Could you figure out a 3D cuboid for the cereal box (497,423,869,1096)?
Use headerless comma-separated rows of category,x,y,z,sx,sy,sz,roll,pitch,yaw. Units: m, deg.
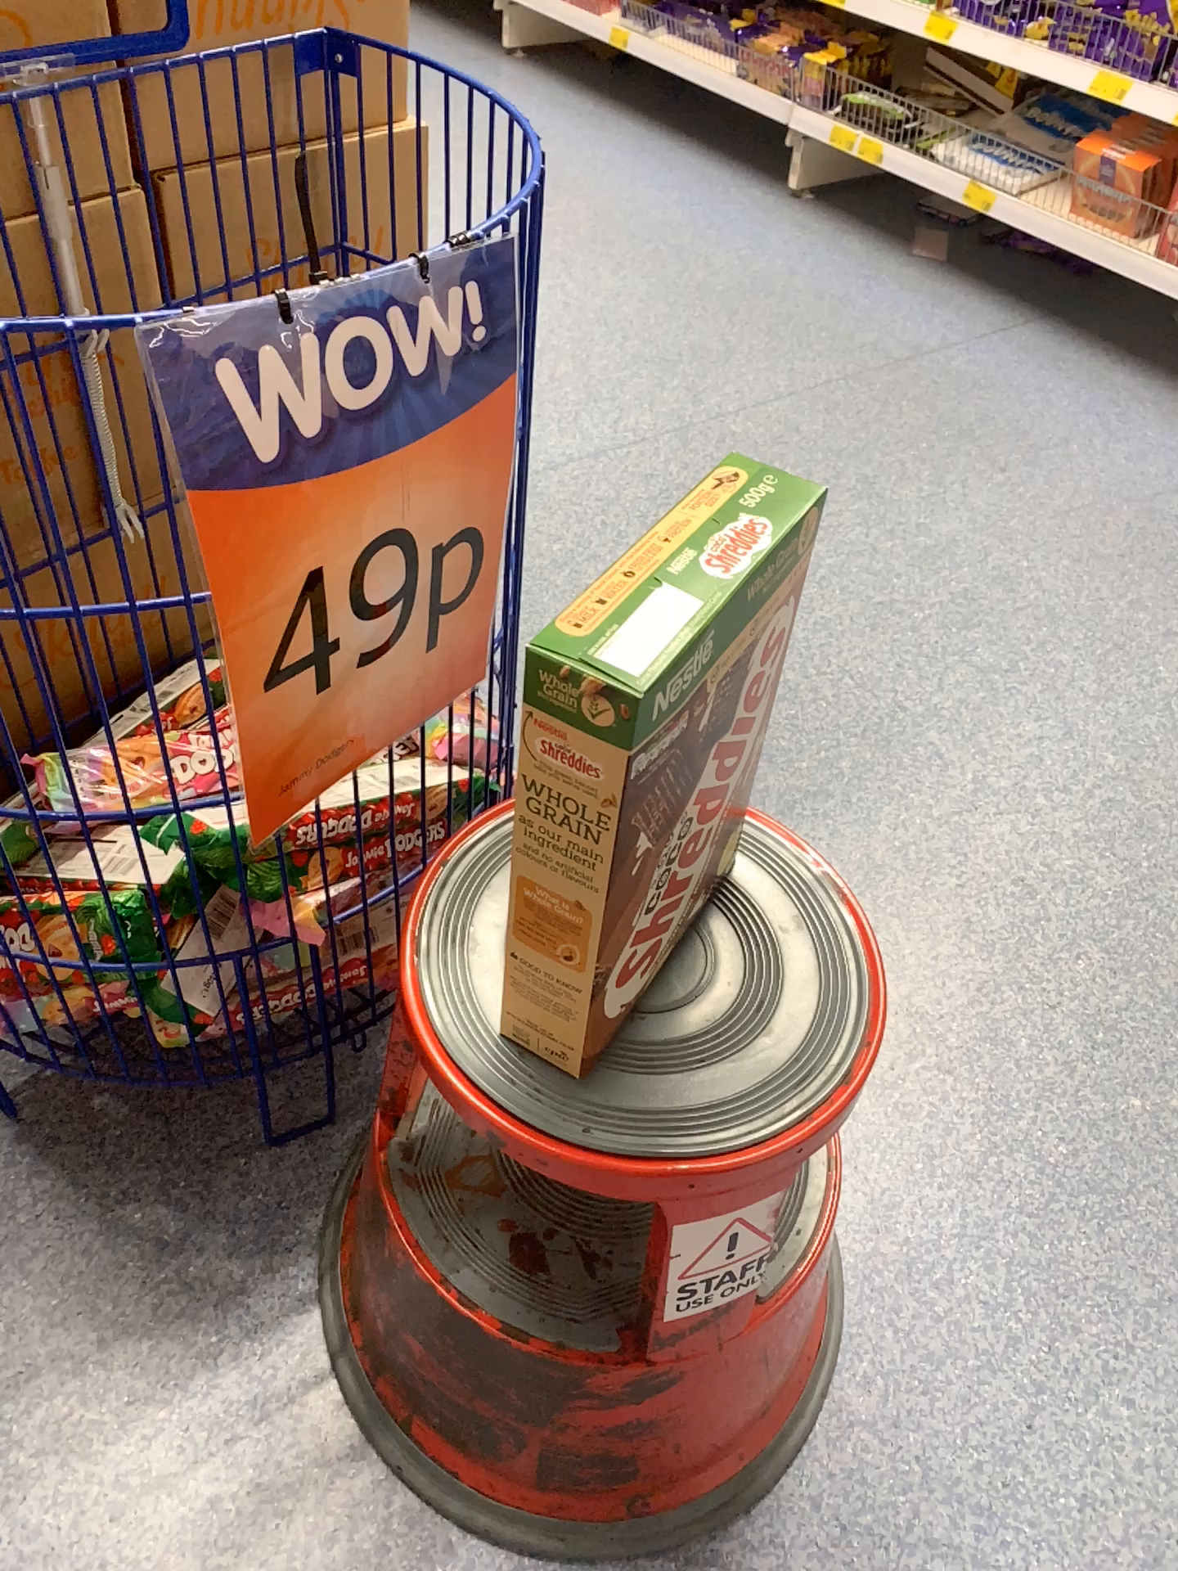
cereal box,0.041,-0.008,0.612,0.070,0.277,0.202,25,47,18
